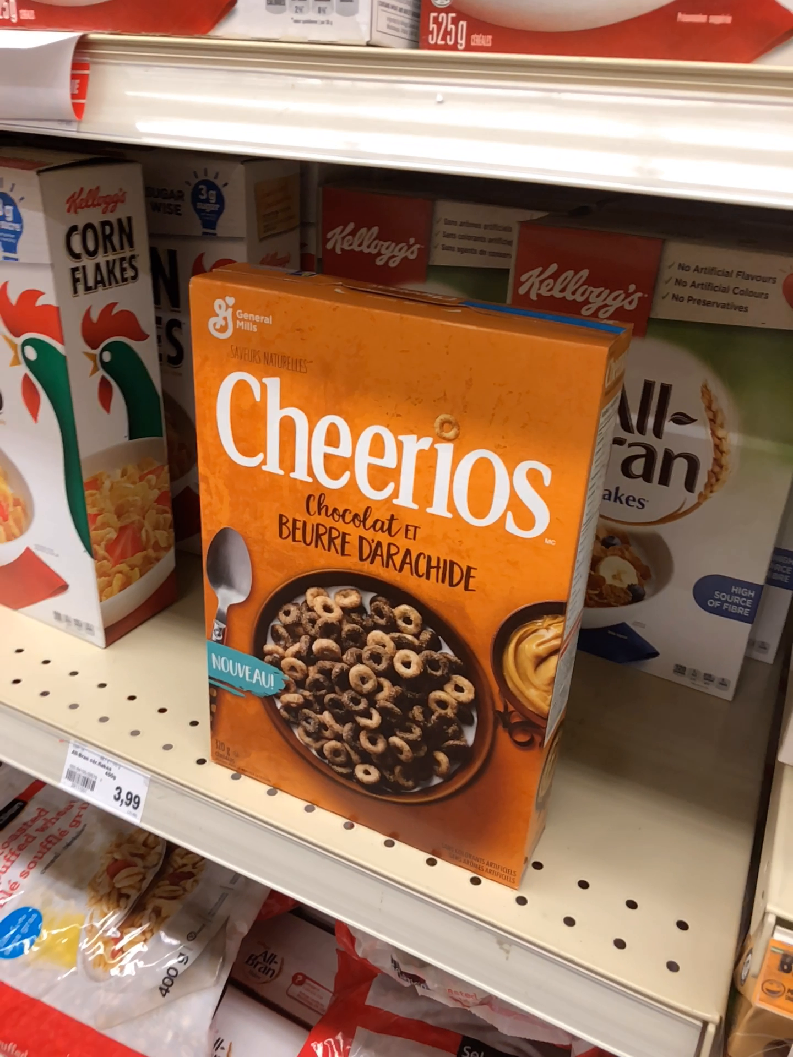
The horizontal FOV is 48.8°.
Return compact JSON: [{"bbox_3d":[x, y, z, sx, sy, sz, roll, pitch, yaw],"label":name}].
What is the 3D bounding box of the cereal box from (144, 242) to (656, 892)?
[{"bbox_3d":[-0.011,0.018,0.418,0.210,0.268,0.050,16,30,23],"label":"cereal box"}]
